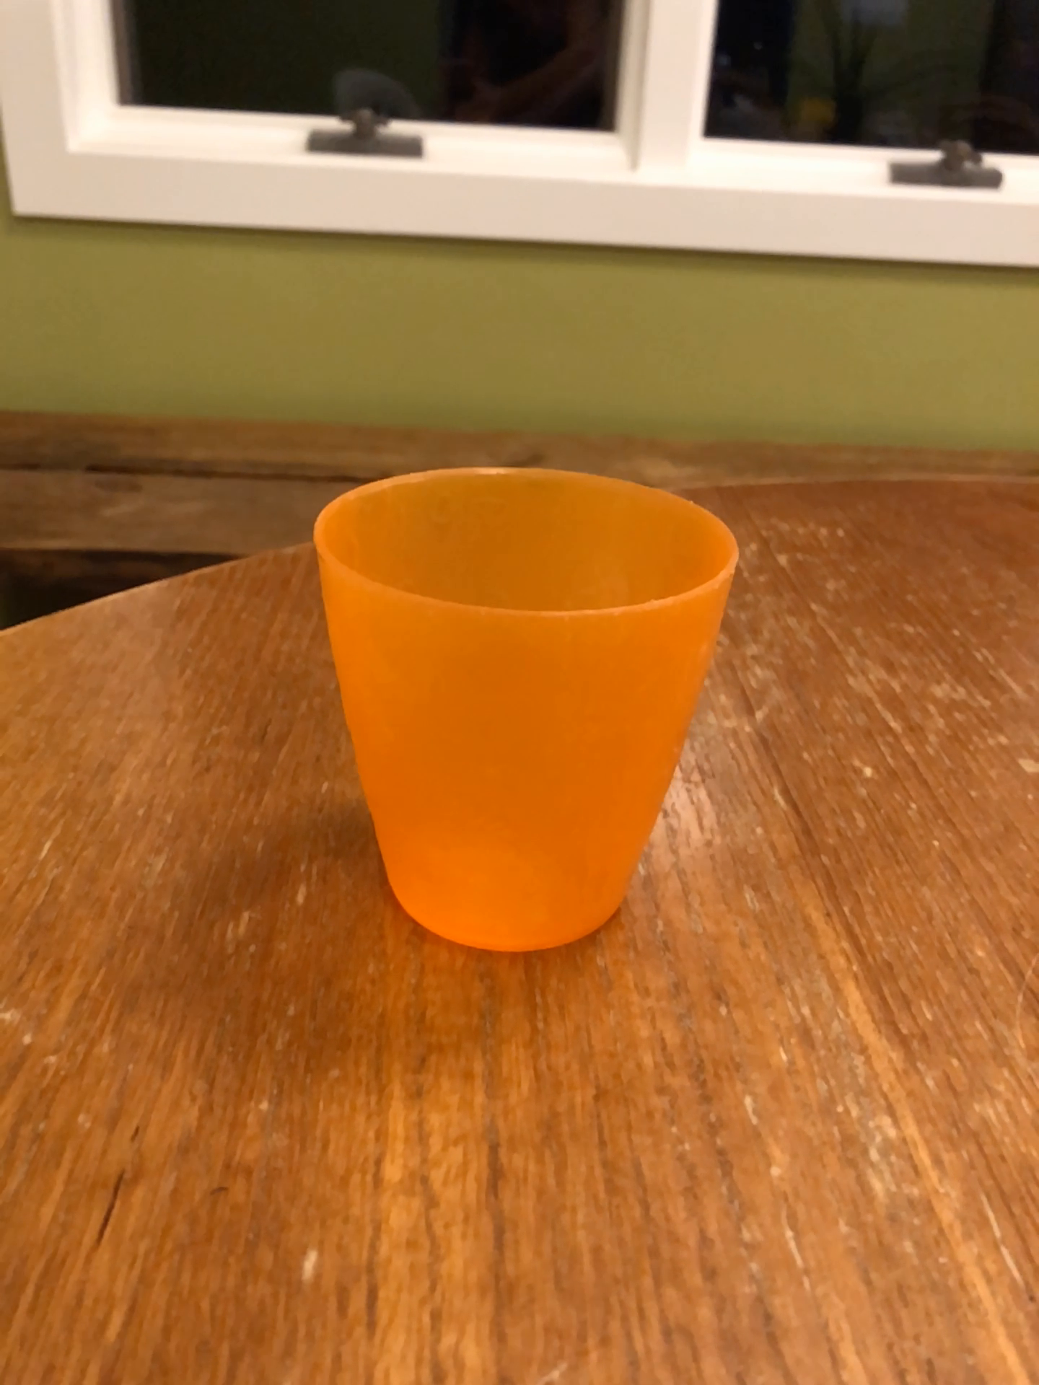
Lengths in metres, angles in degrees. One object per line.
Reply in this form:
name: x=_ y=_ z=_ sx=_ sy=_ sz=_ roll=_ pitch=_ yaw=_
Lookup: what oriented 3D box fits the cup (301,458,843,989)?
cup: x=0.002 y=-0.001 z=0.219 sx=0.079 sy=0.066 sz=0.080 roll=2 pitch=27 yaw=-1
